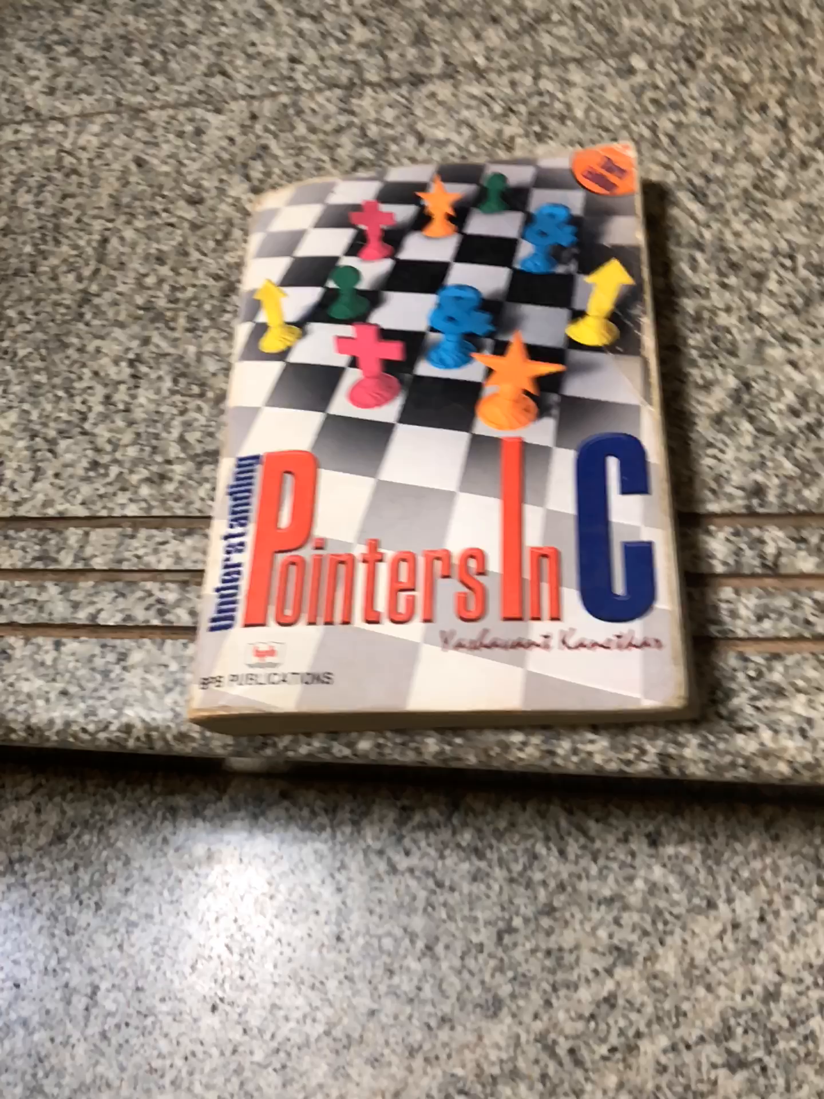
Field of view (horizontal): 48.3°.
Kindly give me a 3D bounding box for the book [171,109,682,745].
[{"bbox_3d":[0.007,-0.048,0.308,0.140,0.030,0.220,-3,64,11],"label":"book"}]
